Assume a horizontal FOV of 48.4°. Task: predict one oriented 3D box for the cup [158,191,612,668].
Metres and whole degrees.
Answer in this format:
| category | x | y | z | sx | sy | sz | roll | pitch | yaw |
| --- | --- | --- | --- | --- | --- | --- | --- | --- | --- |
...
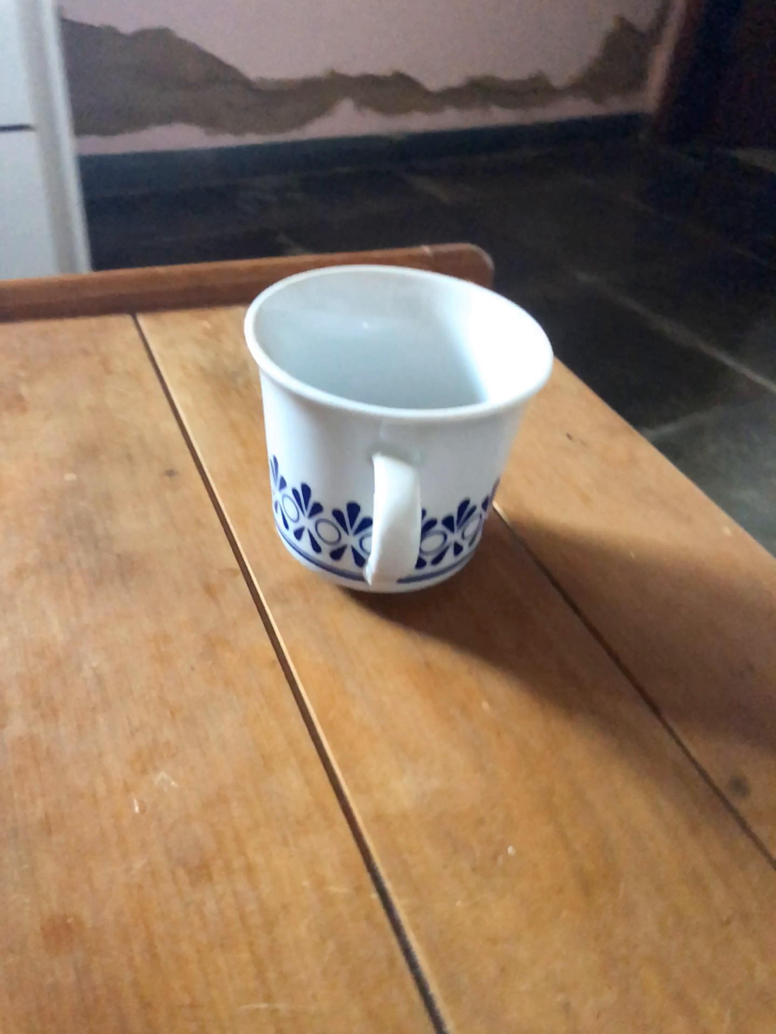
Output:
| category | x | y | z | sx | sy | sz | roll | pitch | yaw |
| --- | --- | --- | --- | --- | --- | --- | --- | --- | --- |
| cup | -0.004 | -0.033 | 0.265 | 0.100 | 0.079 | 0.131 | 4 | 38 | -4 |
